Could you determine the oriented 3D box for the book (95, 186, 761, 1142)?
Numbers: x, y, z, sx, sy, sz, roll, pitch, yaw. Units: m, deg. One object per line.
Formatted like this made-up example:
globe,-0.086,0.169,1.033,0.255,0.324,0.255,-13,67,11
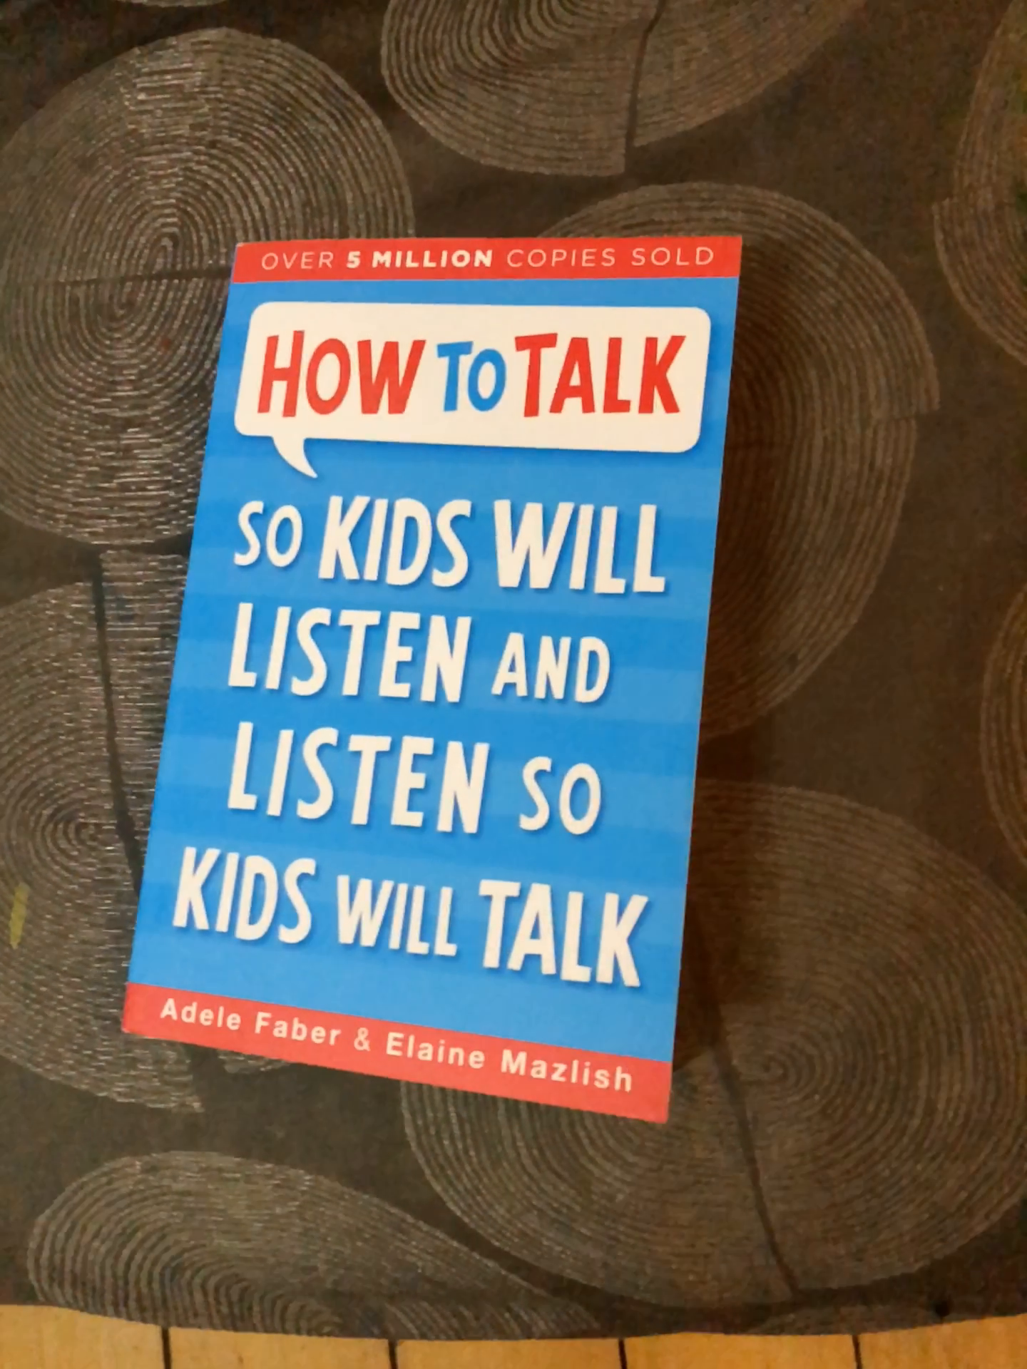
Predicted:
book,-0.019,-0.011,0.277,0.140,0.030,0.210,4,86,12
